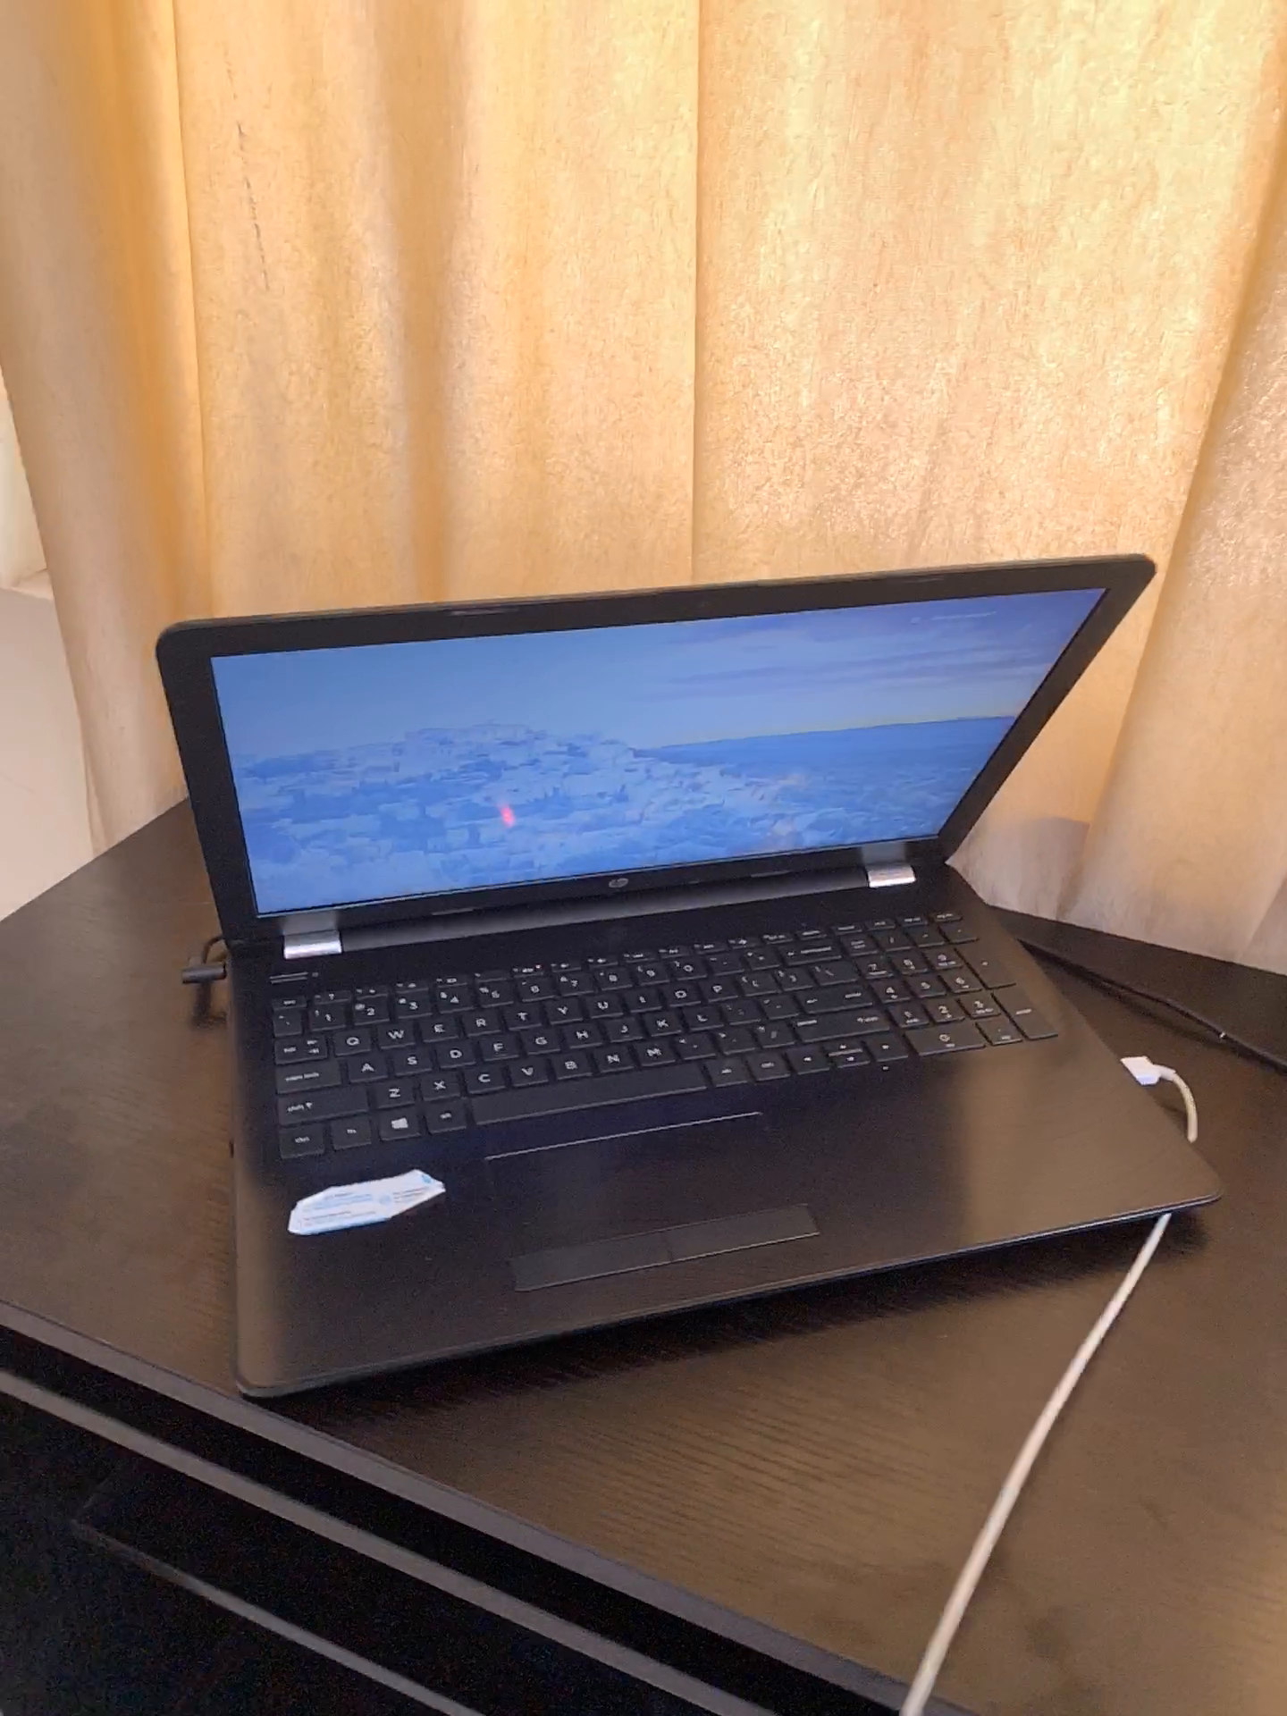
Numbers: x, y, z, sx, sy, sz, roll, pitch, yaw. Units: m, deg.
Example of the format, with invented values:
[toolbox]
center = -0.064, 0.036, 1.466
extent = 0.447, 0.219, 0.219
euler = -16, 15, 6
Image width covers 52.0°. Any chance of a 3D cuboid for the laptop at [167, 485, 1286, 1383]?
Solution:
[laptop]
center = 0.021, 0.002, 0.520
extent = 0.362, 0.201, 0.239
euler = -7, 33, -12
